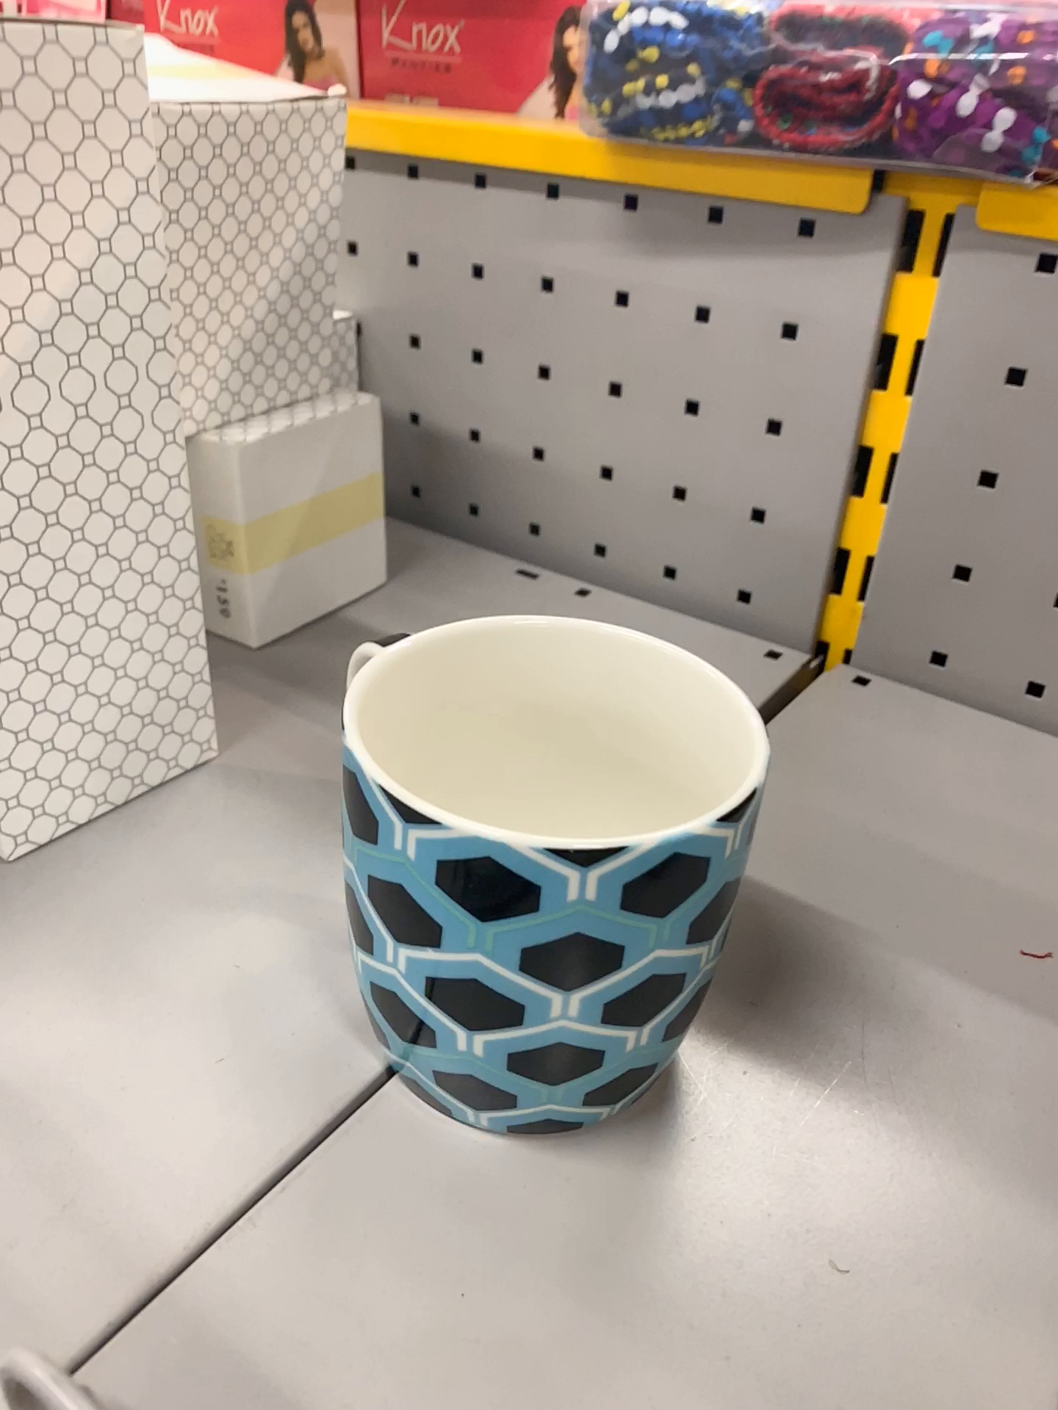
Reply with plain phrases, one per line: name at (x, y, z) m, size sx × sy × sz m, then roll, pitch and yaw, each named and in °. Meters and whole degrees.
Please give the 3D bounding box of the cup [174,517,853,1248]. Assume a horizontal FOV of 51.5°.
cup at (-0.011, 0.027, 0.252) m, size 0.090 × 0.090 × 0.120 m, roll -18°, pitch 37°, yaw -31°
